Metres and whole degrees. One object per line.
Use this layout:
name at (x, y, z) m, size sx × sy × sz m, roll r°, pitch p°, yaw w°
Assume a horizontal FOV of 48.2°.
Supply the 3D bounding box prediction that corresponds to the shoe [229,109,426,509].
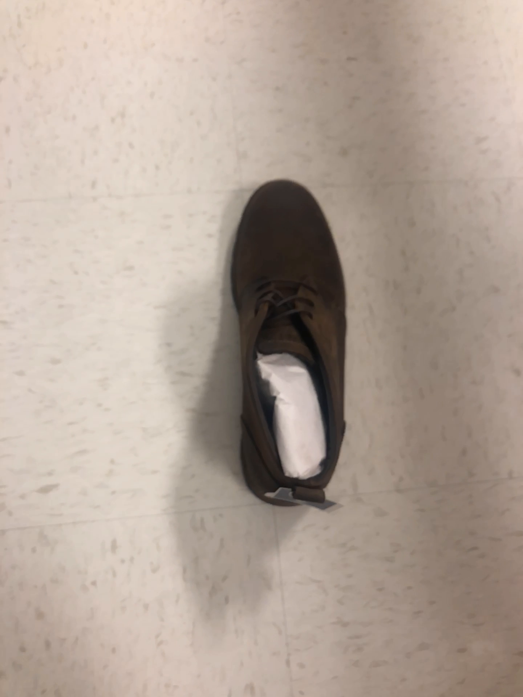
shoe at (0.035, -0.018, 0.477) m, size 0.115 × 0.167 × 0.283 m, roll 0°, pitch 75°, yaw -5°
